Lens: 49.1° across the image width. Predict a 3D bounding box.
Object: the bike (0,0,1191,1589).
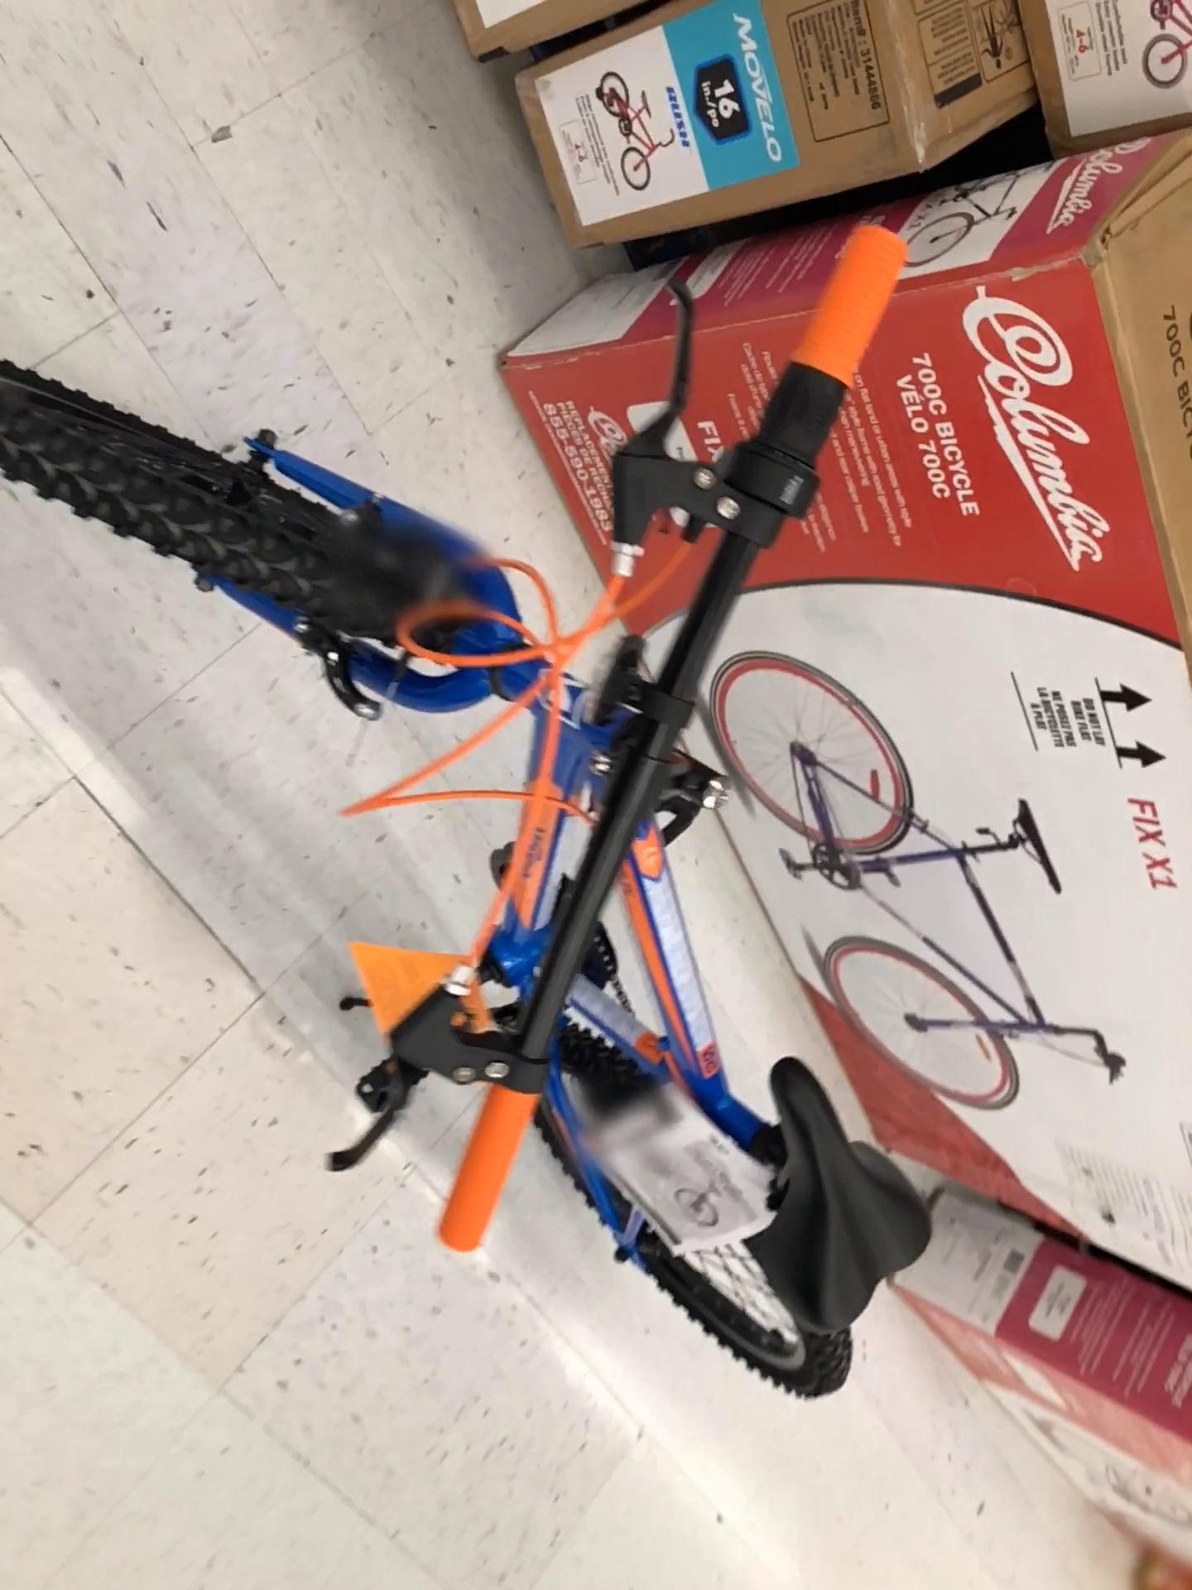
[{"bbox_3d":[-0.117,0.198,1.146,0.585,0.870,1.317,-47,119,-24],"label":"bike"}]
